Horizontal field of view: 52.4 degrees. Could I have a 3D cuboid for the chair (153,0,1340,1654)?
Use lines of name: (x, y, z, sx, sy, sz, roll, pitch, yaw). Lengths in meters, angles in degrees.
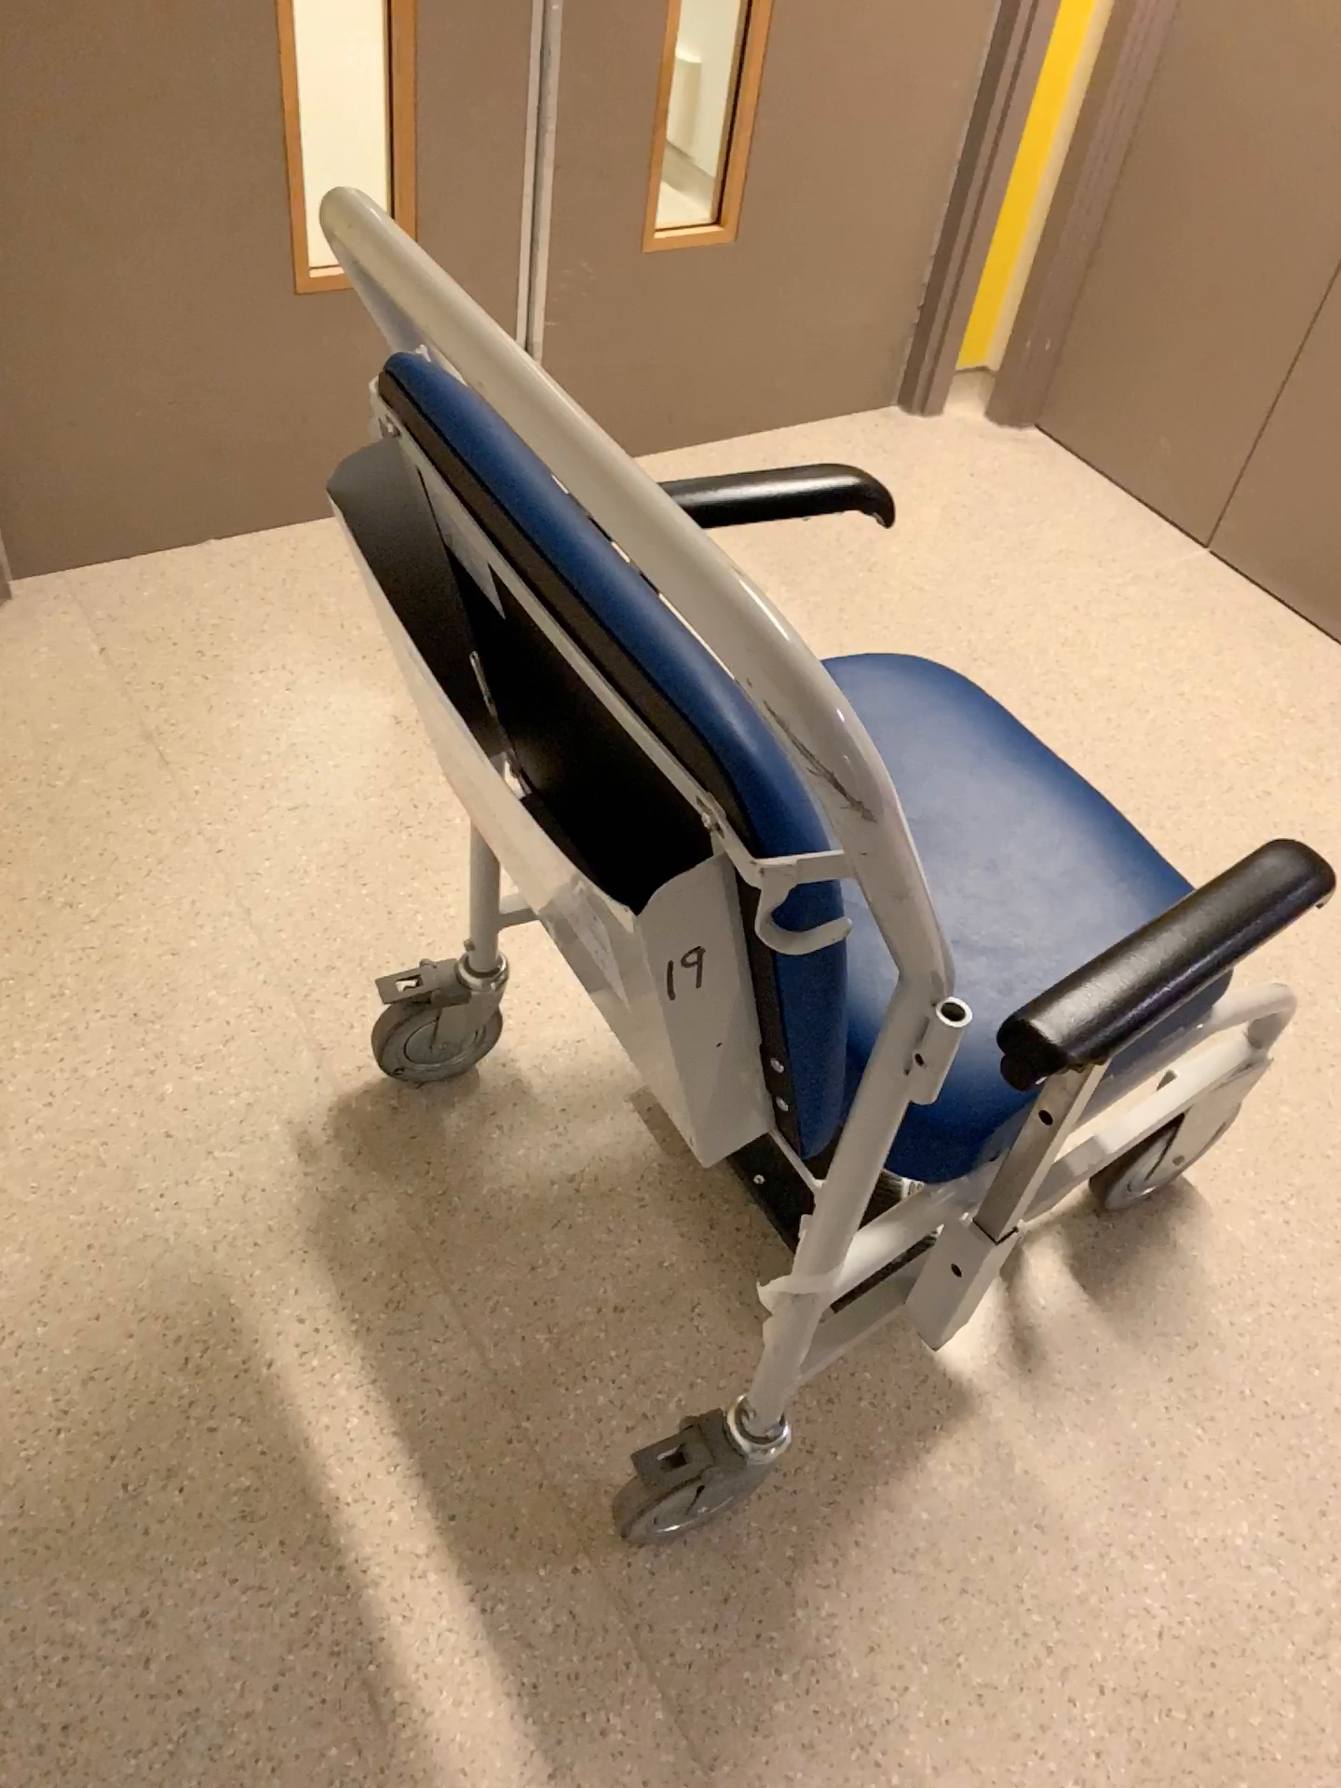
chair: (0.194, -0.095, 1.256, 0.943, 1.030, 0.825, -18, 53, -25)
